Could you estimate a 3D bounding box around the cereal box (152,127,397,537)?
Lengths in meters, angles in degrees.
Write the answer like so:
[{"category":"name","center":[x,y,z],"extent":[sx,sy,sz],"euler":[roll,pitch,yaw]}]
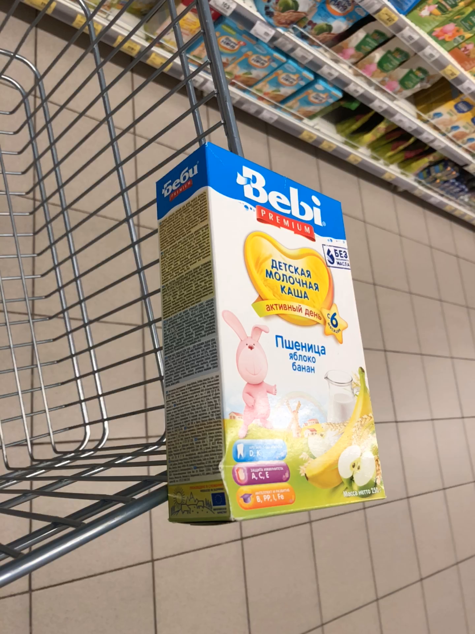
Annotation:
[{"category":"cereal box","center":[0.020,0.011,0.317],"extent":[0.130,0.050,0.210],"euler":[11,67,-40]}]
